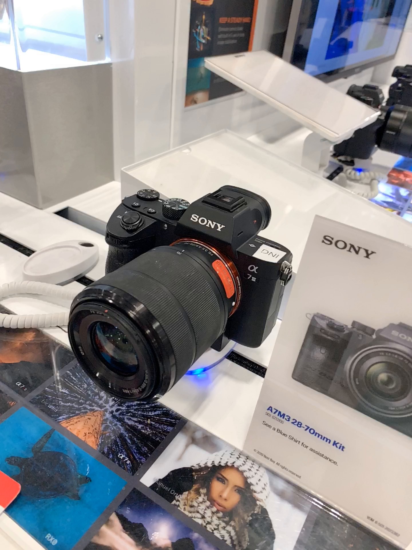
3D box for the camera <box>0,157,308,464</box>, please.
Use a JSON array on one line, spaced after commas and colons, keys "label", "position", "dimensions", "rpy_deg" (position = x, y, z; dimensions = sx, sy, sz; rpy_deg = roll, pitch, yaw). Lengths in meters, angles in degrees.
[{"label": "camera", "position": [-0.025, 0.007, 0.272], "dimensions": [0.119, 0.099, 0.141], "rpy_deg": [22, 38, 21]}]
